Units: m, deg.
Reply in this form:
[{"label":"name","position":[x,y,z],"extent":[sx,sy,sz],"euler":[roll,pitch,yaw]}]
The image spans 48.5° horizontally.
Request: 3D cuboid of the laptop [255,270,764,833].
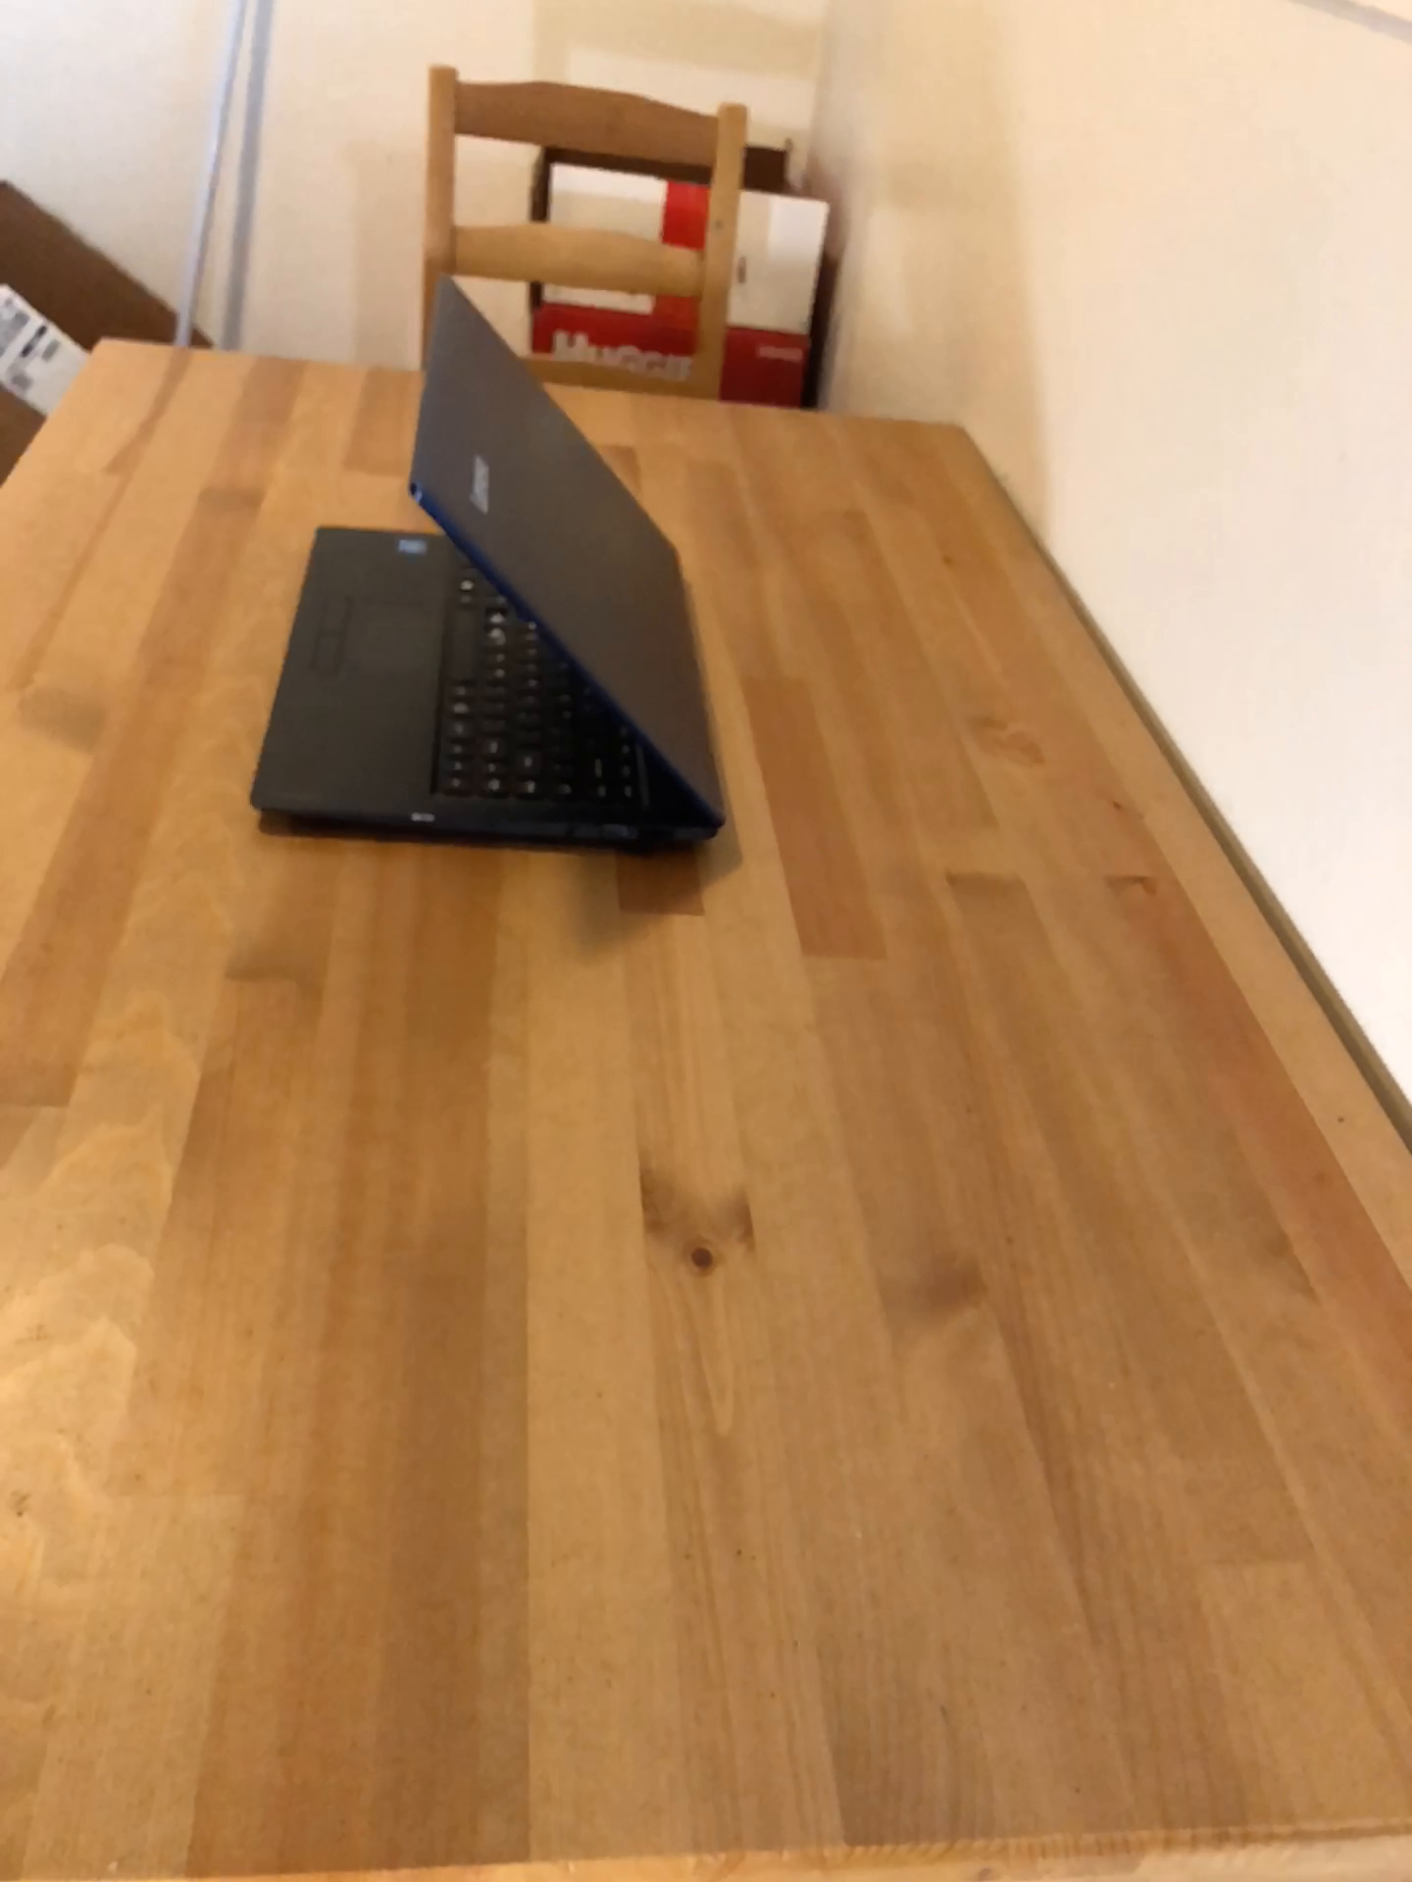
[{"label":"laptop","position":[-0.104,-0.220,0.839],"extent":[0.215,0.161,0.319],"euler":[2,38,-8]}]
